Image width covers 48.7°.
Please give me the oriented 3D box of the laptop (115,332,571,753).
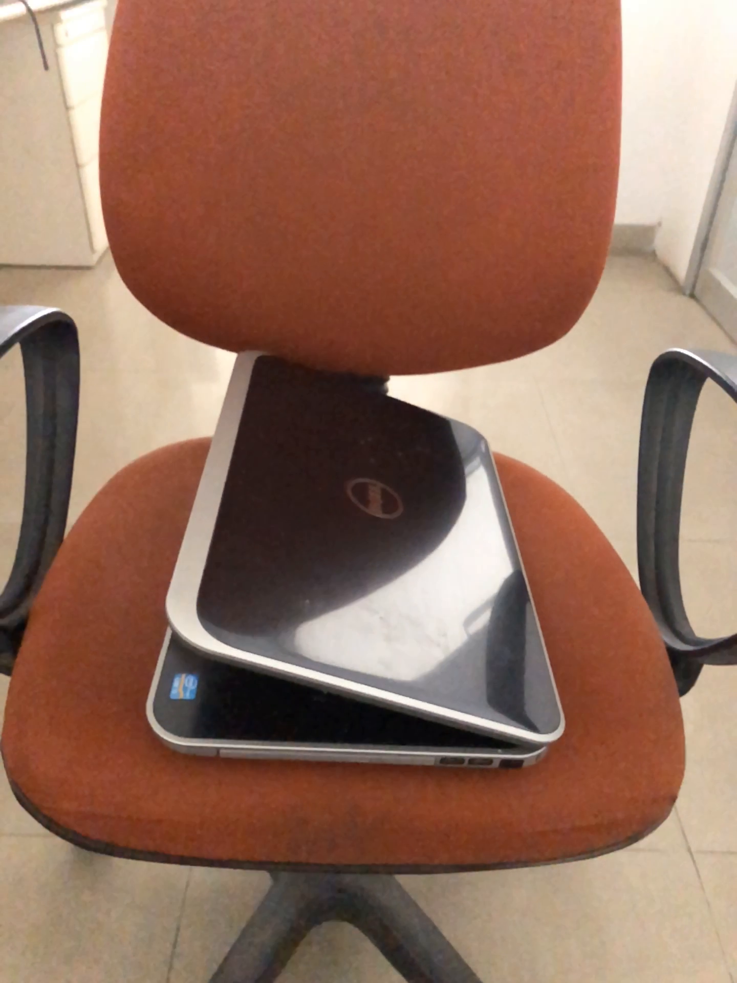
[{"bbox_3d":[-0.014,0.006,0.596,0.233,0.090,0.368,3,34,-3],"label":"laptop"}]
